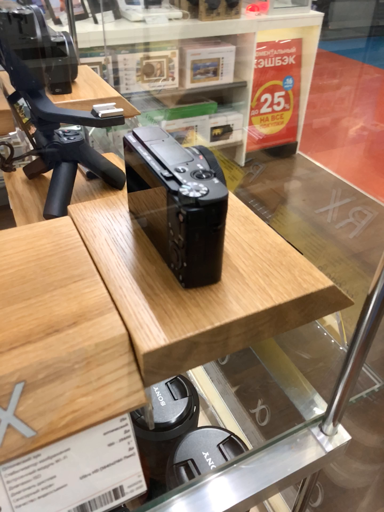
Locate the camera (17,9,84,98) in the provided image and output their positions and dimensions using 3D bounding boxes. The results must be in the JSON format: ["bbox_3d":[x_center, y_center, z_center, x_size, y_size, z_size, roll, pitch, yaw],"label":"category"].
[{"bbox_3d":[-0.179,-0.258,0.531,0.040,0.070,0.143,-16,41,-21],"label":"camera"}]

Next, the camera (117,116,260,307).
[{"bbox_3d":[-0.008,-0.032,0.259,0.040,0.070,0.100,-16,41,-21],"label":"camera"}]
